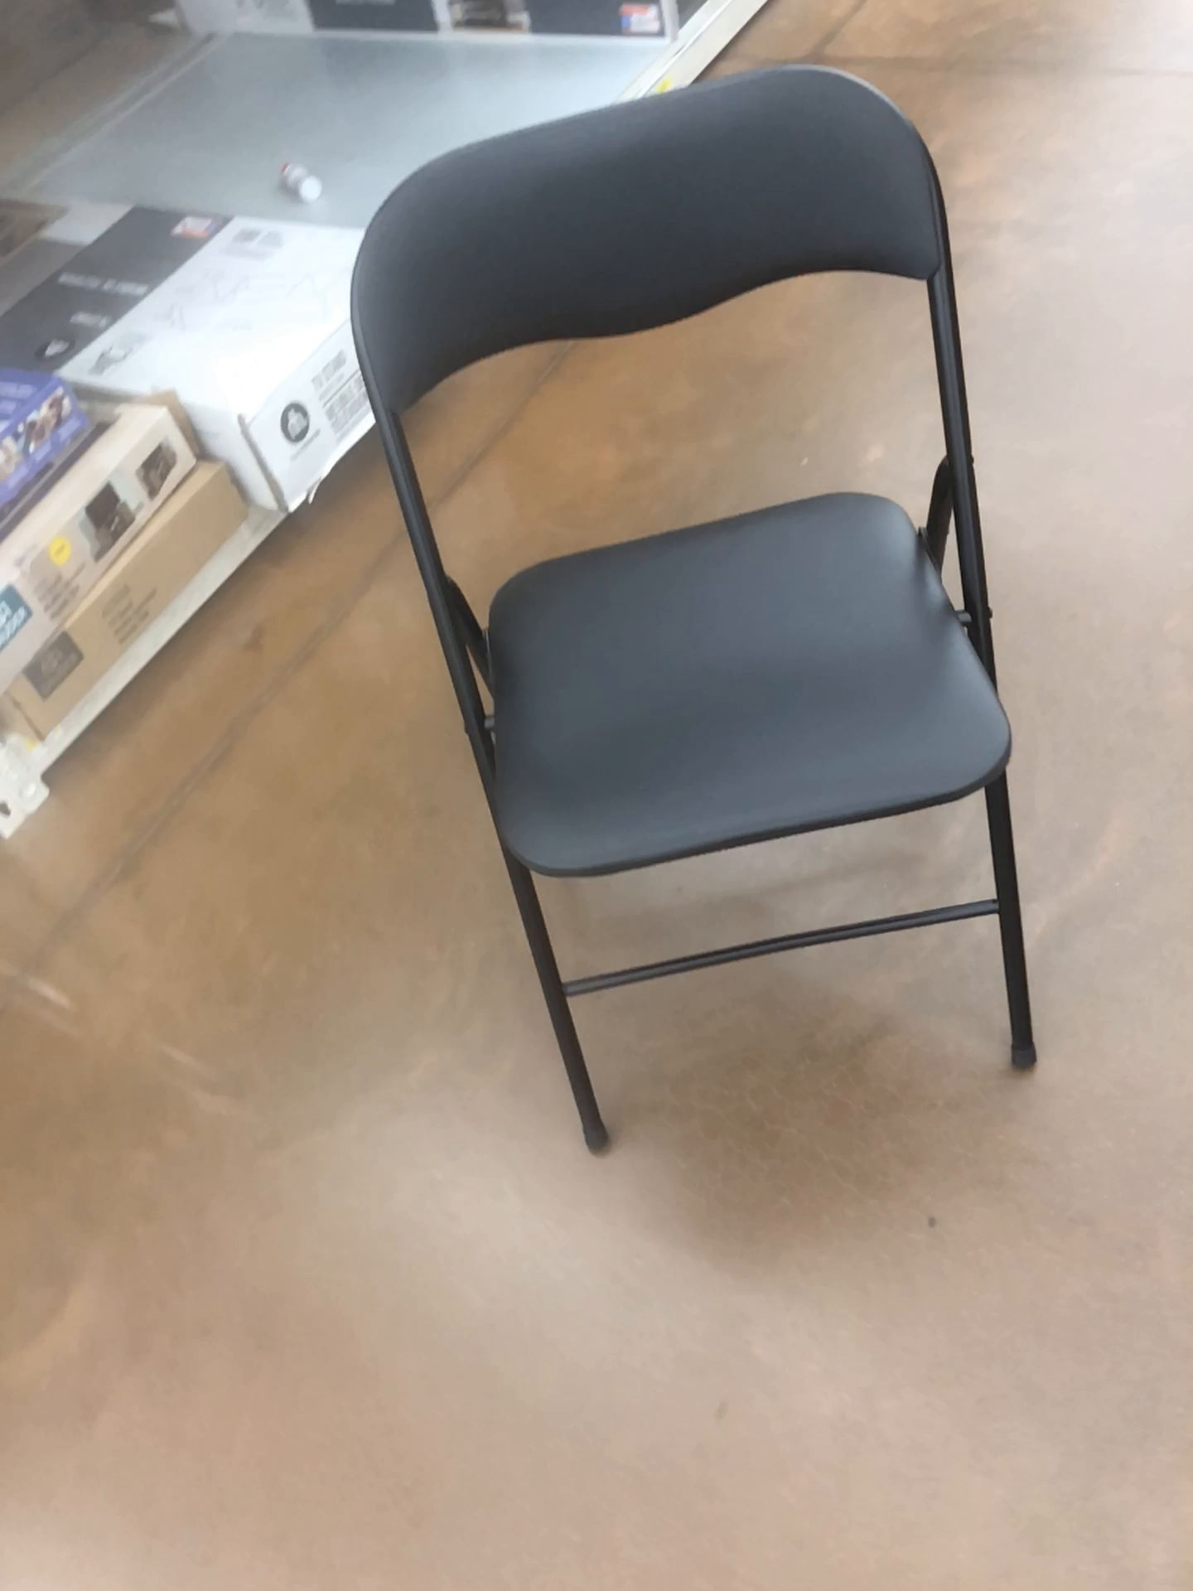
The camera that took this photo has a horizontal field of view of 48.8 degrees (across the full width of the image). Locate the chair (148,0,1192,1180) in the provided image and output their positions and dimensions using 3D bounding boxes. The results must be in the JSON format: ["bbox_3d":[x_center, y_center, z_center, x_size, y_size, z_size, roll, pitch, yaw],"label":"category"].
[{"bbox_3d":[0.088,-0.122,1.073,0.520,0.757,0.492,-12,48,6],"label":"chair"}]
